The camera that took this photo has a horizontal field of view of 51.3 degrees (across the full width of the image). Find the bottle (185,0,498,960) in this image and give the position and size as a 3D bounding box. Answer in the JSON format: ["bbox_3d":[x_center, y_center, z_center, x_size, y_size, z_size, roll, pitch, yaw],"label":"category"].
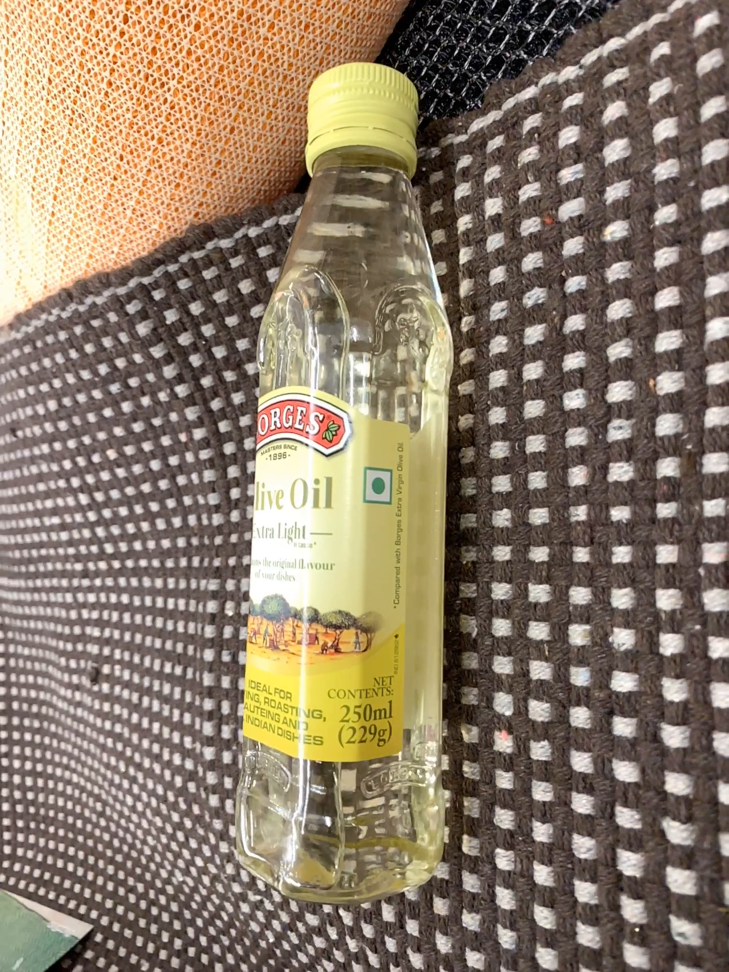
[{"bbox_3d":[-0.007,-0.004,0.191,0.060,0.040,0.200,1,87,50],"label":"bottle"}]
